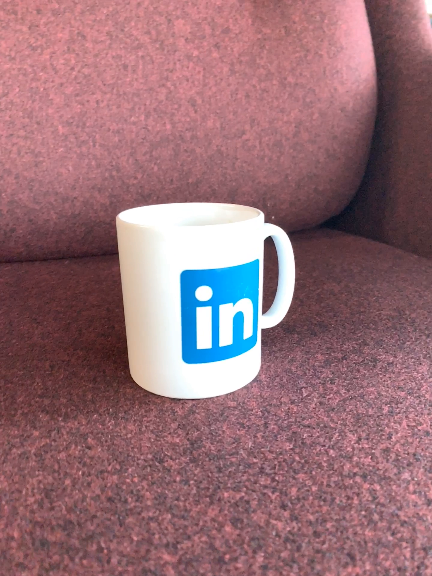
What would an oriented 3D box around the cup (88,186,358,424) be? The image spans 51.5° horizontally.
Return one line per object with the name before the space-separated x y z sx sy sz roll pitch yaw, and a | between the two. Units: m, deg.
cup | -0.001 -0.002 0.254 0.120 0.089 0.090 -10 21 -18
